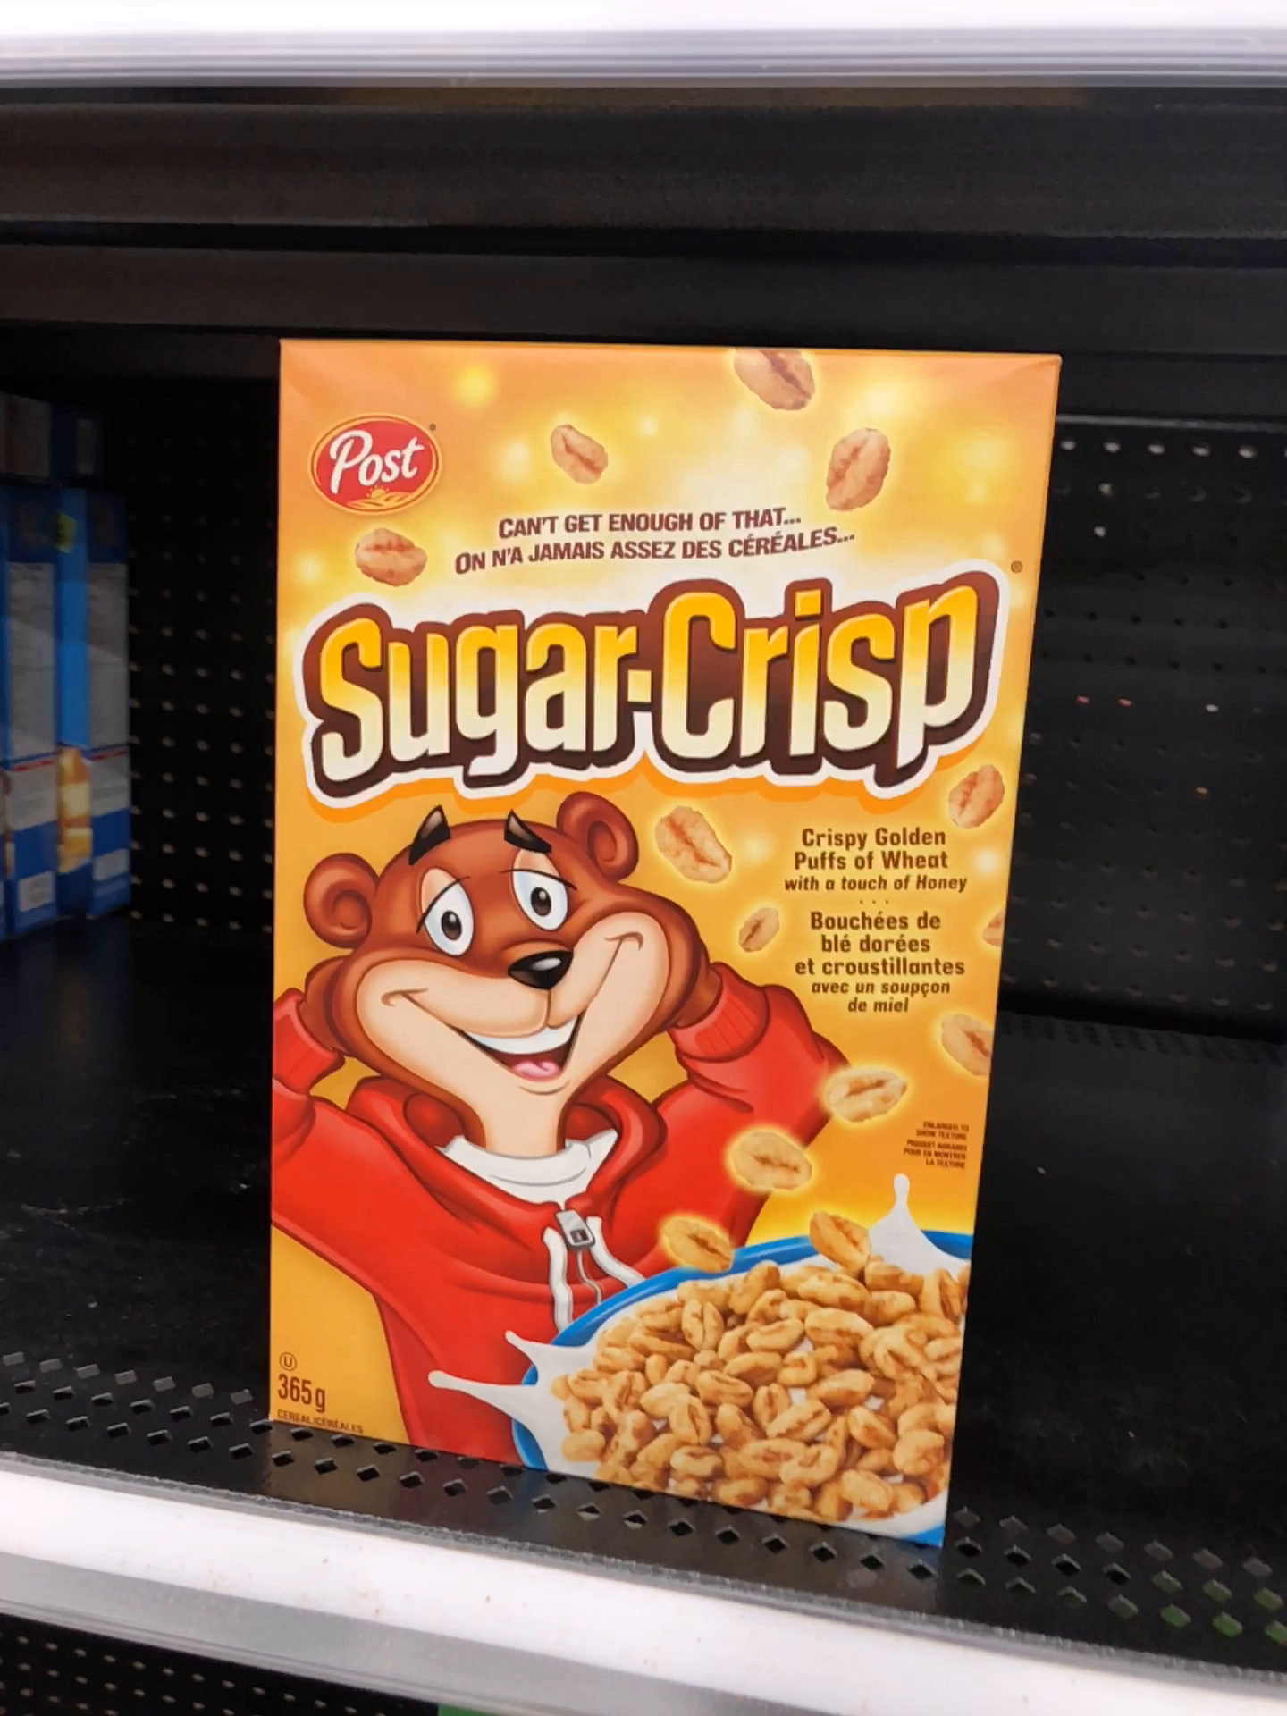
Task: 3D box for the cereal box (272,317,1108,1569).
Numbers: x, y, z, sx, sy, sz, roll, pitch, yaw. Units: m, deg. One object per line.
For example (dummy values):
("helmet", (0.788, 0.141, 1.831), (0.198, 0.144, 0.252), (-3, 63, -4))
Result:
("cereal box", (0.005, 0.019, 0.395), (0.200, 0.309, 0.060), (5, 10, 12))
